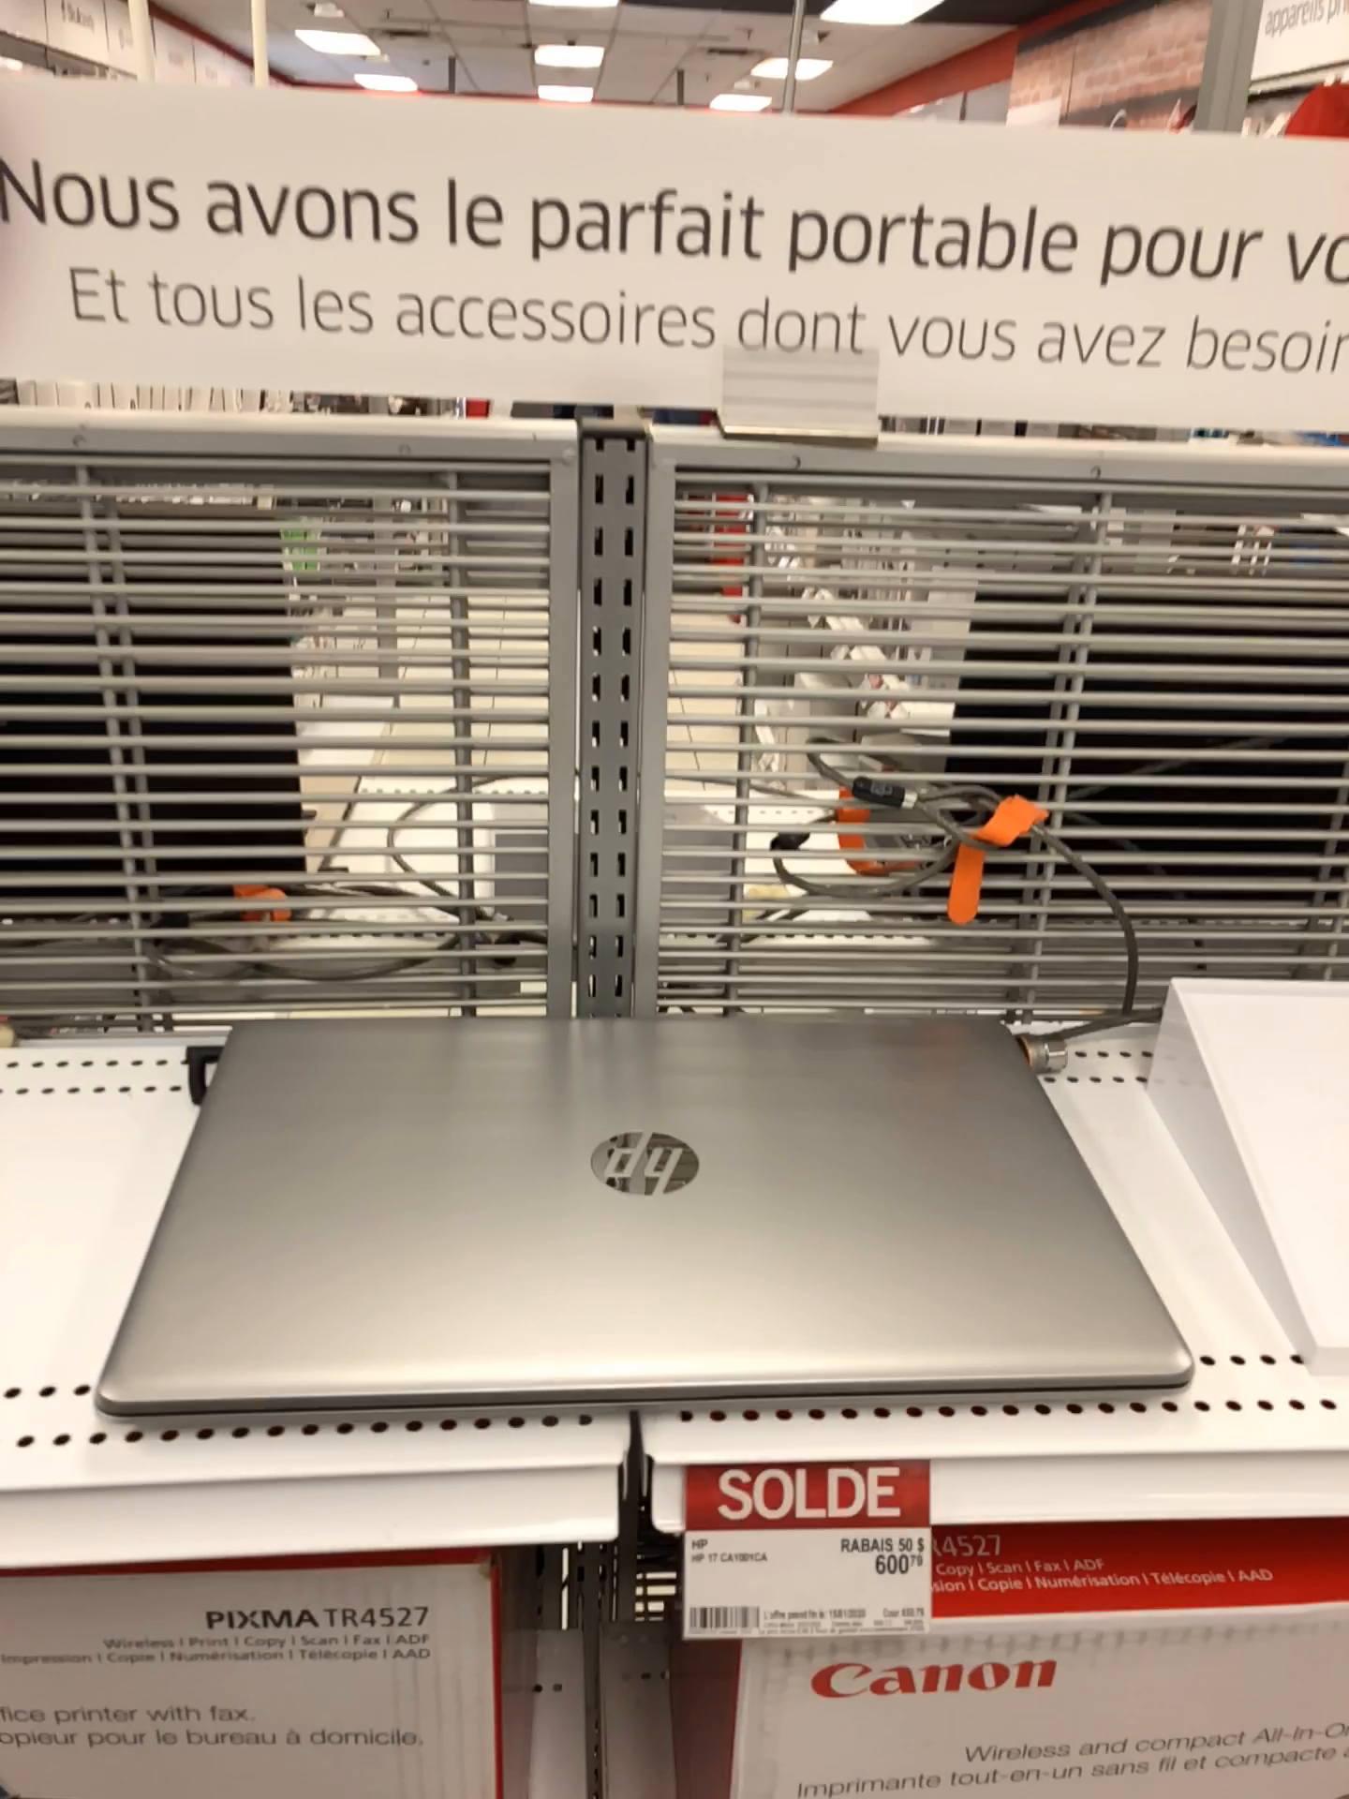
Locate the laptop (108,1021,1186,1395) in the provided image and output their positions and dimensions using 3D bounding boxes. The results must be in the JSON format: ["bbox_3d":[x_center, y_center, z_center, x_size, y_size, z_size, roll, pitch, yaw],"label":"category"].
[{"bbox_3d":[-0.015,0.127,0.695,0.416,0.002,0.278,0,25,-4],"label":"laptop"}]
